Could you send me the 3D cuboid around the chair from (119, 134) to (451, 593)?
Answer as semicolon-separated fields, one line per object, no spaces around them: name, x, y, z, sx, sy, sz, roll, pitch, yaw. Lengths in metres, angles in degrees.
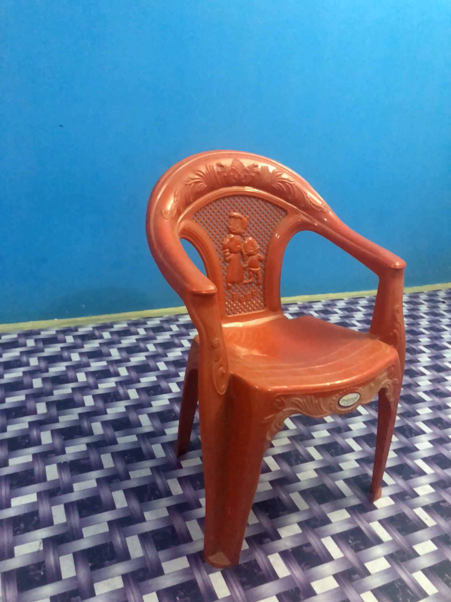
chair;0.087;0.045;0.824;0.411;0.557;0.381;-7;25;-29
